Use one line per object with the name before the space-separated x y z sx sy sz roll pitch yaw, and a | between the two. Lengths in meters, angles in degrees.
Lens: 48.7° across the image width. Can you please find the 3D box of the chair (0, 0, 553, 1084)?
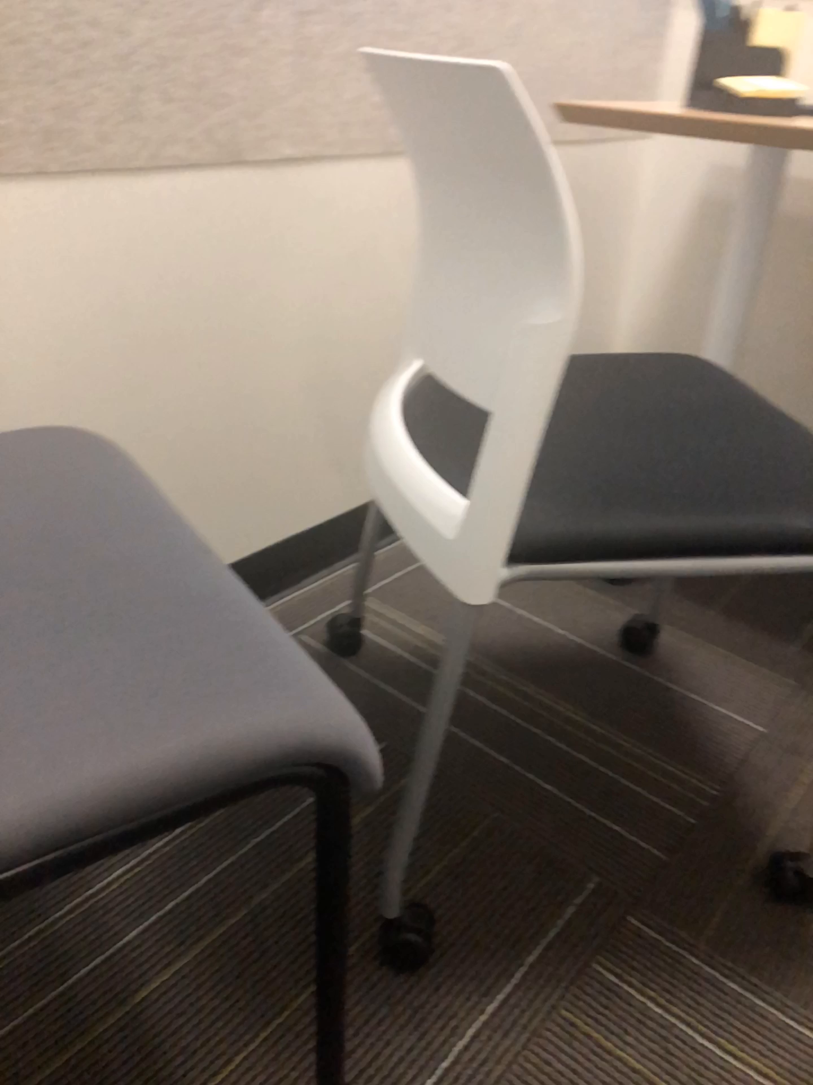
chair | -0.439 0.100 0.702 0.653 0.933 0.703 -11 31 -32

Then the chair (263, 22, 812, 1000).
chair | 0.195 -0.077 1.183 0.651 0.962 0.705 0 28 -15
